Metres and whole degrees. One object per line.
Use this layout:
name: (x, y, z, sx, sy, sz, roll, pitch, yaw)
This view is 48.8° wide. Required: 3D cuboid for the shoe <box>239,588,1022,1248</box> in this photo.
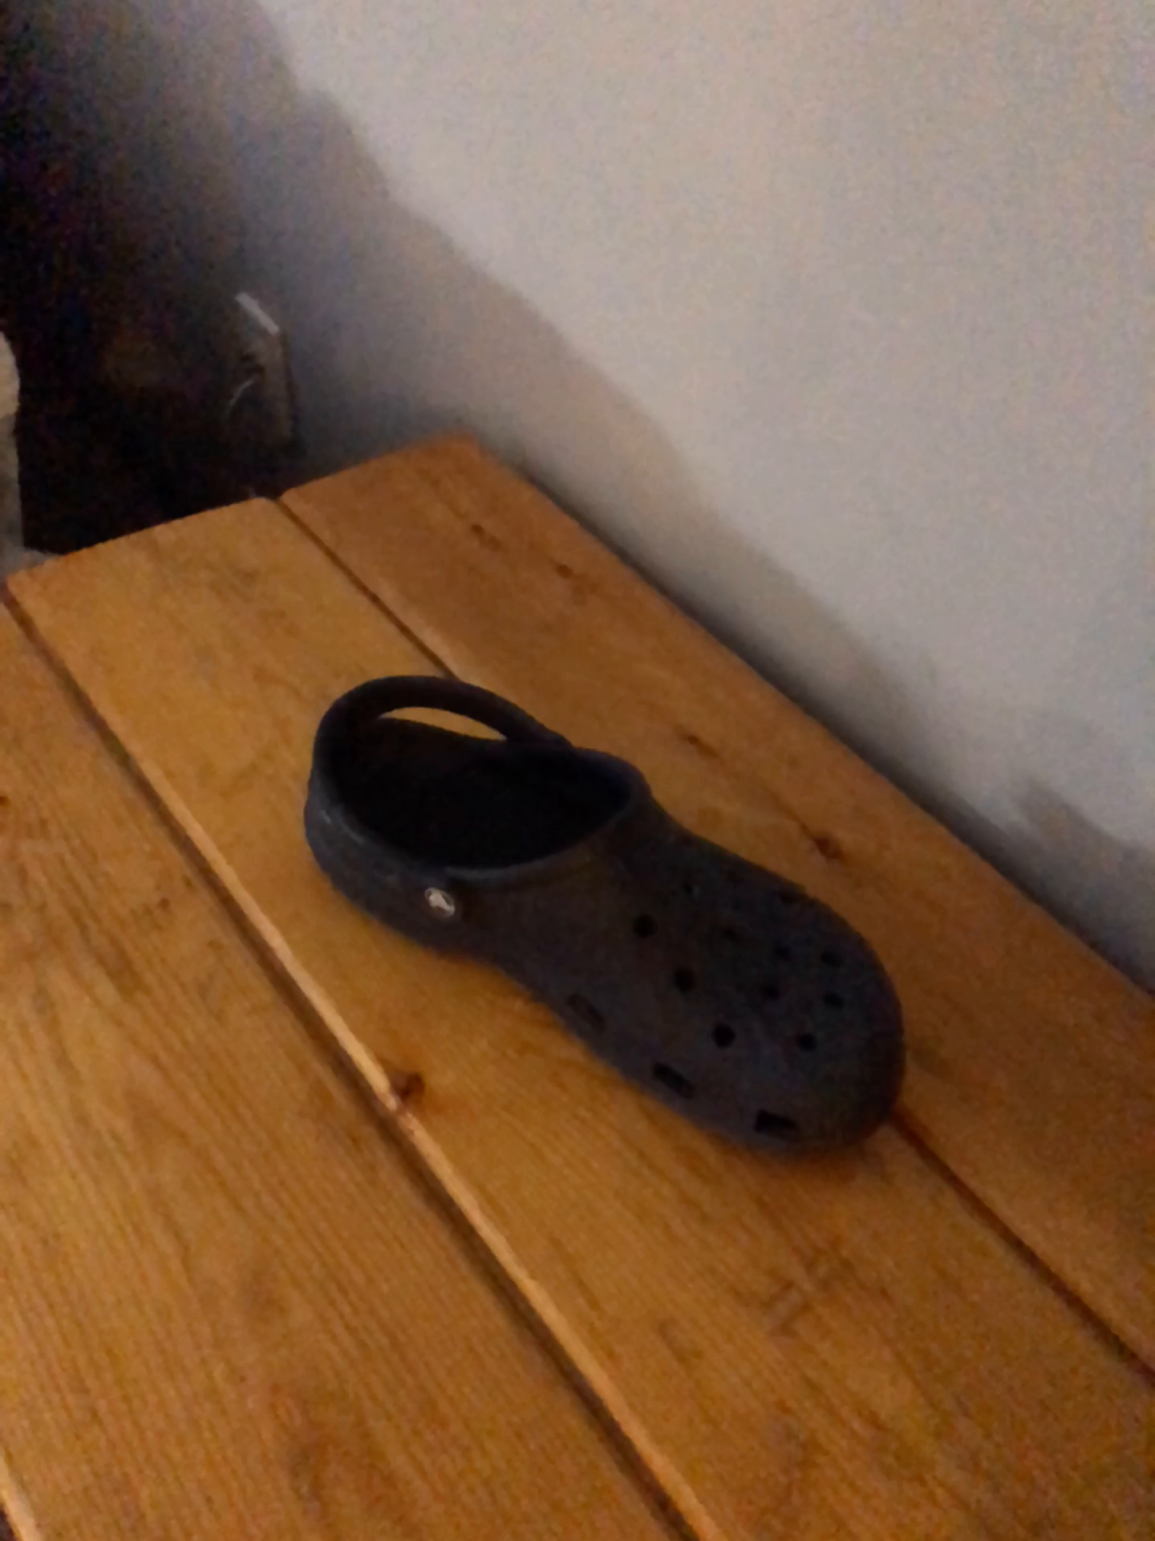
shoe: (0.014, 0.045, 0.534, 0.290, 0.080, 0.130, 30, 50, 21)
